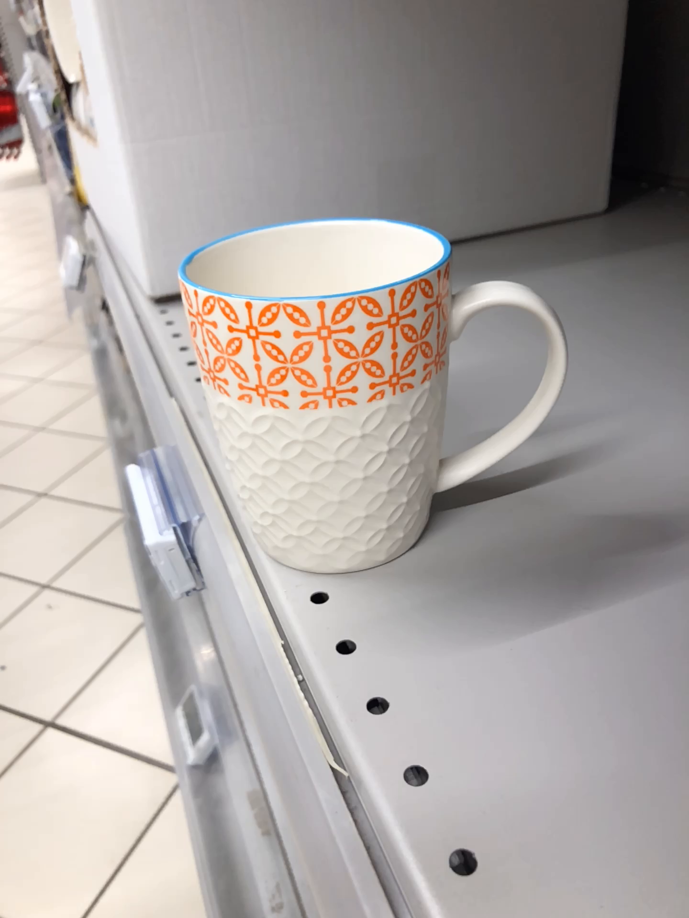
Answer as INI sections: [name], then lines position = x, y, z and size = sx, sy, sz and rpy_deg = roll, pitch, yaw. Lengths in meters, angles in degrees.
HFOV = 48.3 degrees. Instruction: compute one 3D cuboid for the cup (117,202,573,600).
[cup]
position = 0.009, -0.024, 0.255
size = 0.117, 0.095, 0.092
rpy_deg = 1, 31, 11
